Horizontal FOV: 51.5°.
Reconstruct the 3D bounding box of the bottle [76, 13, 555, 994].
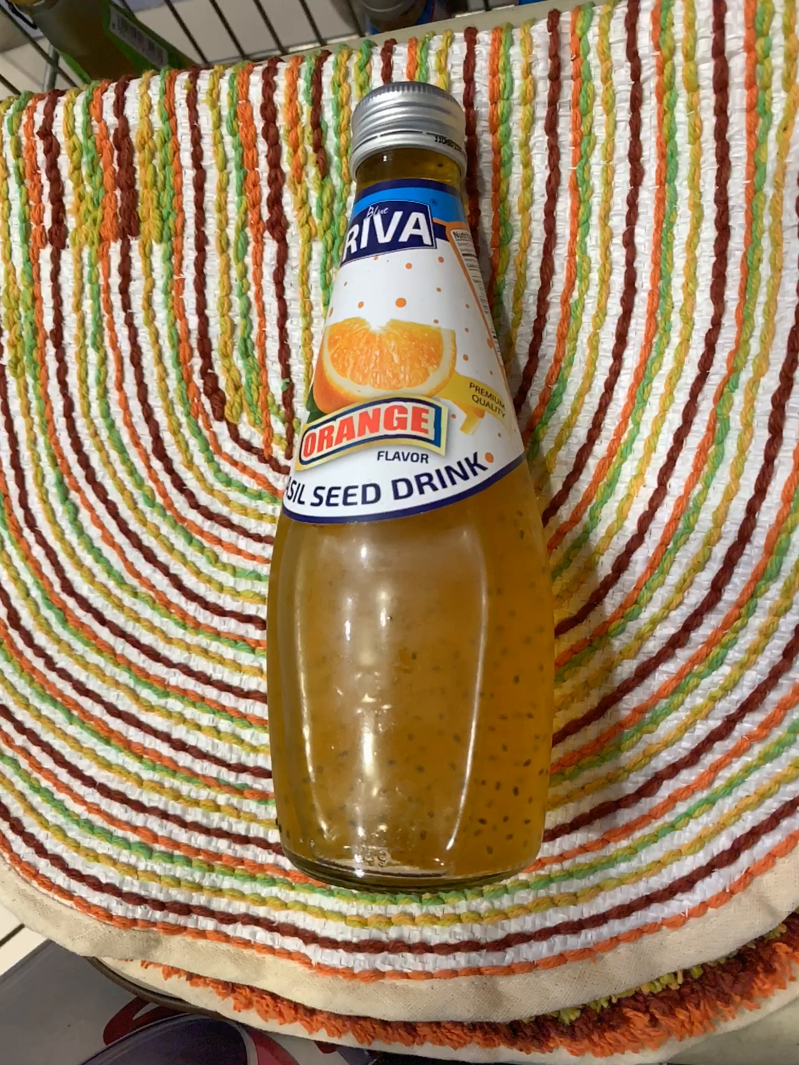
[{"bbox_3d":[-0.010,-0.001,0.168,0.070,0.050,0.160,-1,99,16],"label":"bottle"}]
